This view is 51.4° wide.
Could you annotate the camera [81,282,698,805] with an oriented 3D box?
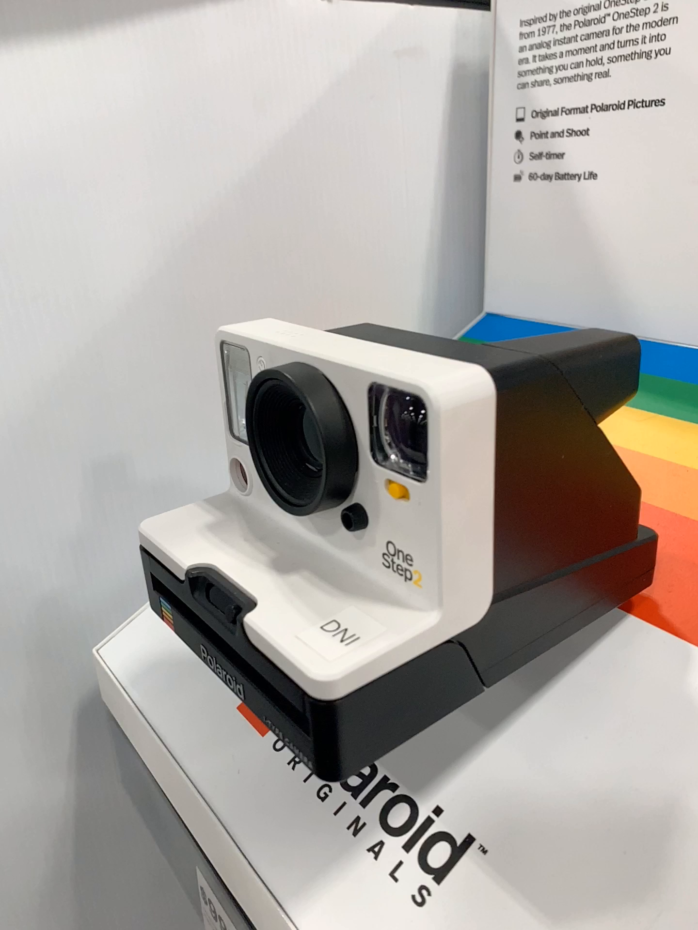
[{"bbox_3d":[0.013,0.001,0.235,0.144,0.090,0.120,-18,27,-34],"label":"camera"}]
